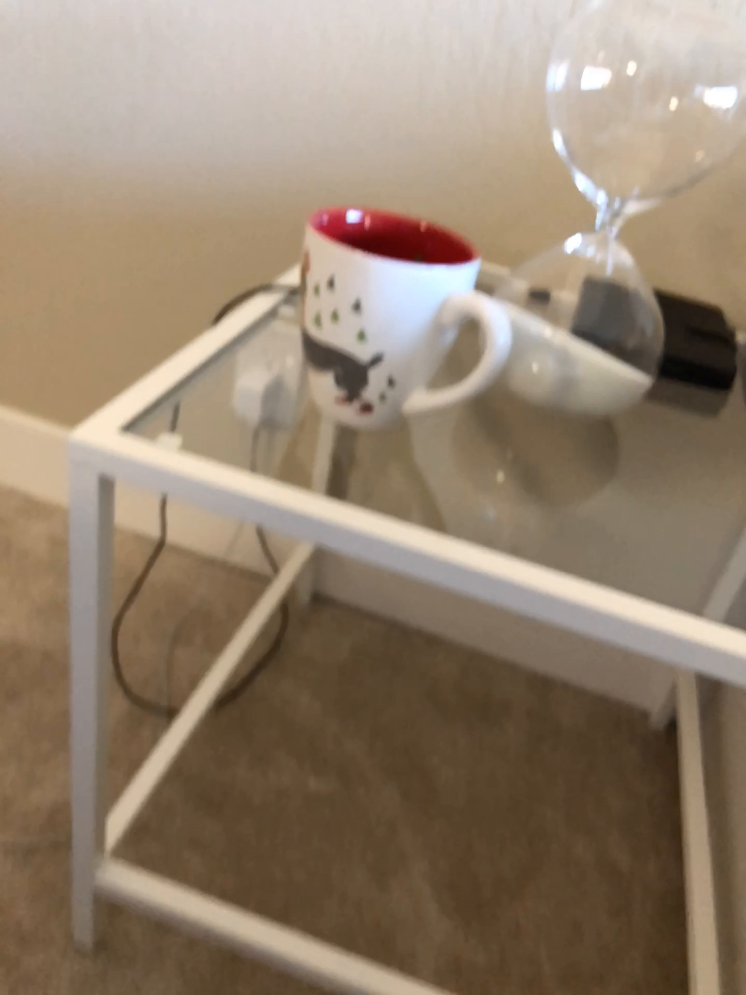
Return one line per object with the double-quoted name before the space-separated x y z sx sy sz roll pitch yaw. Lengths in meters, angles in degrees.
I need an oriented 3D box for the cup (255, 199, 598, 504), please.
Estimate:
"cup" 0.025 -0.092 0.488 0.150 0.109 0.100 33 37 30
